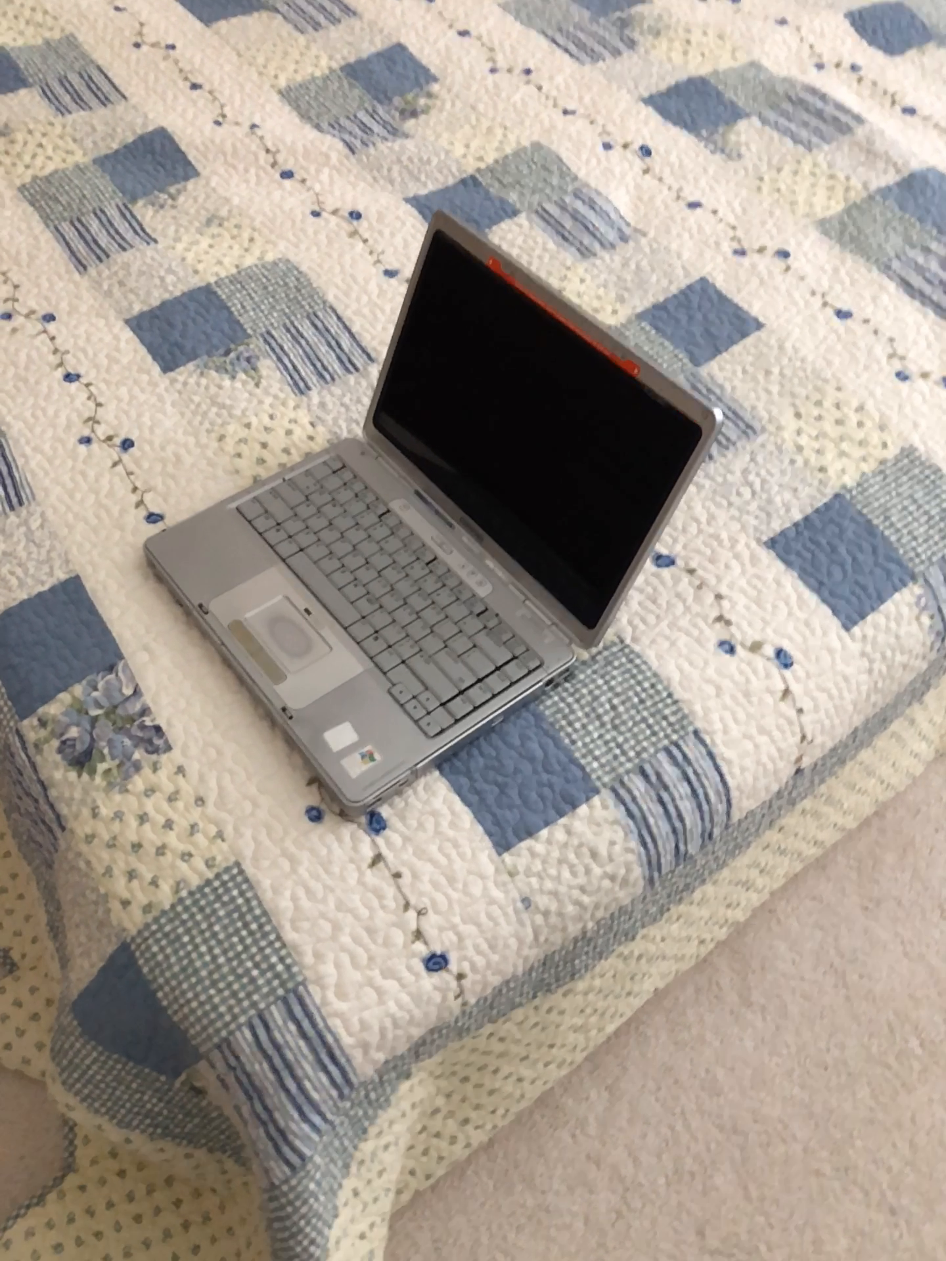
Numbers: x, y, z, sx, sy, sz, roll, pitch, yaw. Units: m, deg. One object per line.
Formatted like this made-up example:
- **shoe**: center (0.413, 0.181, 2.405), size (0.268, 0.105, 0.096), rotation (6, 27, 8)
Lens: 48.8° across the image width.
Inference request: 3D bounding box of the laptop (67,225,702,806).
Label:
- **laptop**: center (-0.065, -0.108, 0.824), size (0.326, 0.193, 0.323), rotation (-32, 60, -23)
